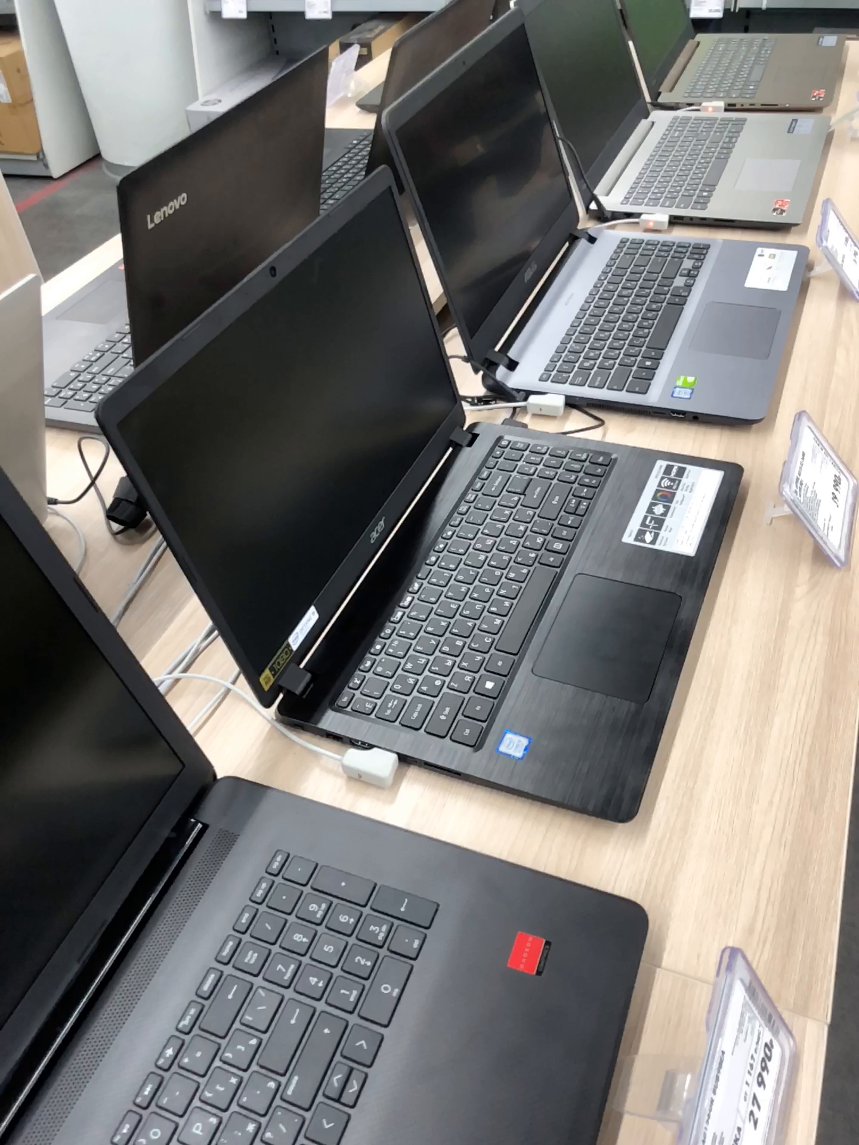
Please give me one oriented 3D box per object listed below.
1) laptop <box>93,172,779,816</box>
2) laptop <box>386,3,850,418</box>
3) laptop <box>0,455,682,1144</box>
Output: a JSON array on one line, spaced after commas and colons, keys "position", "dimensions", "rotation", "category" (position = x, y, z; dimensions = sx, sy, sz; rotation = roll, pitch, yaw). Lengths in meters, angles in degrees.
[{"position": [0.038, -0.084, 0.624], "dimensions": [0.291, 0.219, 0.347], "rotation": [12, 45, 20], "category": "laptop"}, {"position": [0.188, -0.362, 0.895], "dimensions": [0.324, 0.218, 0.328], "rotation": [14, 47, 19], "category": "laptop"}, {"position": [-0.125, 0.168, 0.323], "dimensions": [0.345, 0.226, 0.355], "rotation": [10, 42, 16], "category": "laptop"}]
